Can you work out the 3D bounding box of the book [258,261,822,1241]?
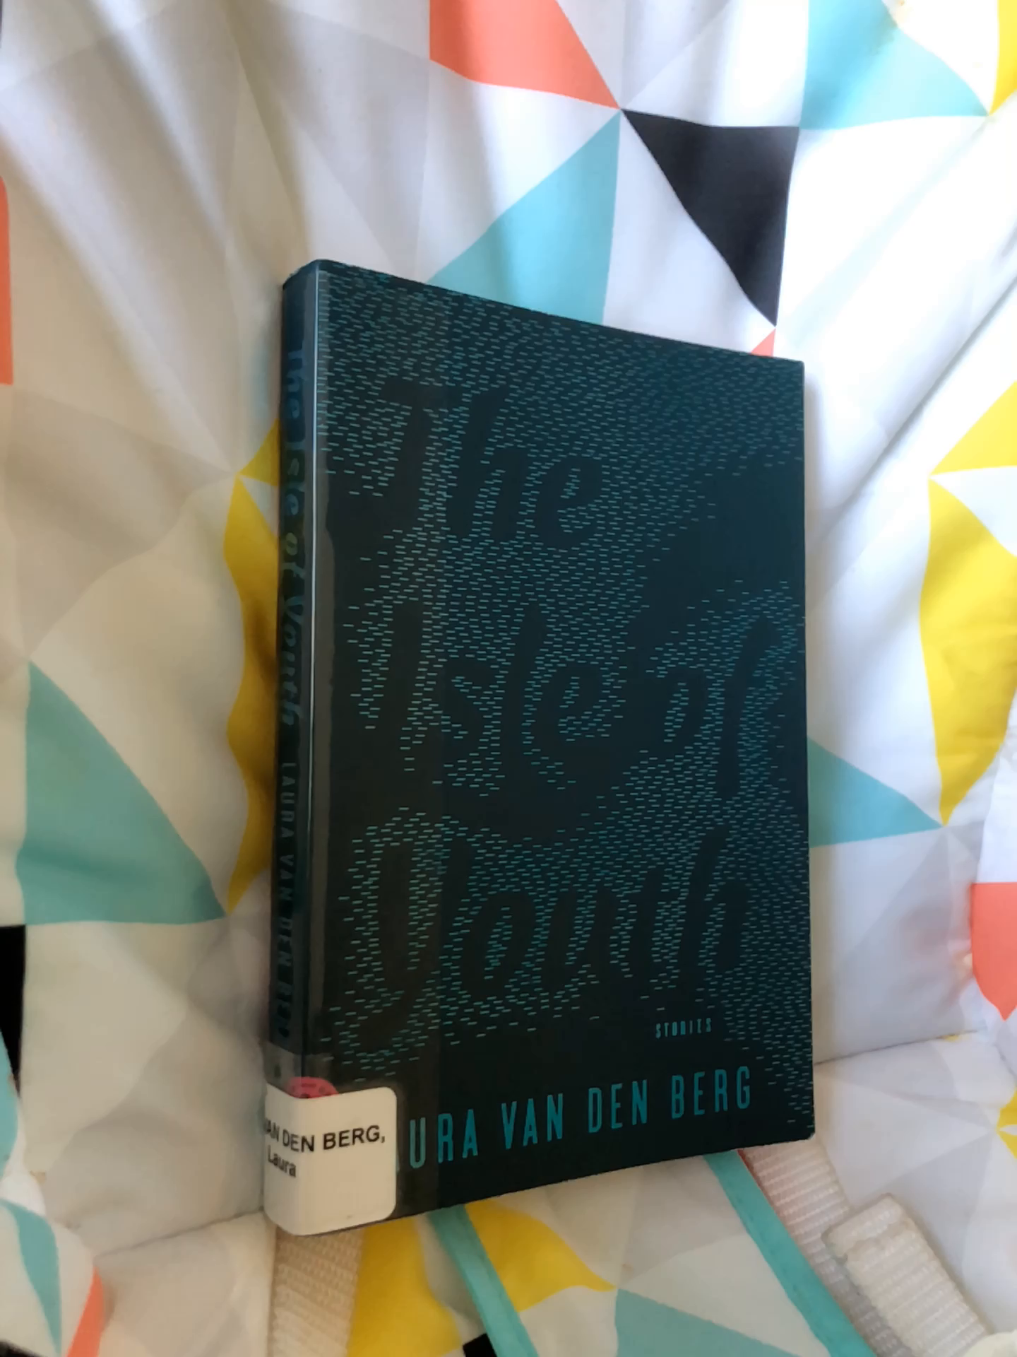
[{"bbox_3d":[0.011,0.014,0.252,0.124,0.032,0.180,1,88,-28],"label":"book"}]
